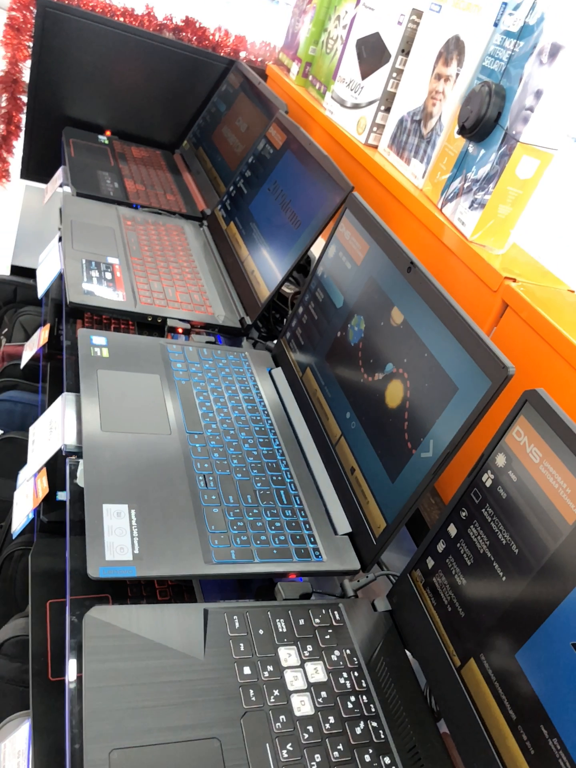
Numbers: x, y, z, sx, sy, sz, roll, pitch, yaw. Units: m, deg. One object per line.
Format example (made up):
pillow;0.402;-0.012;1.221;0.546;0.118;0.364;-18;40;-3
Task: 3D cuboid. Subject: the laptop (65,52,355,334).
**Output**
laptop;-0.144;-0.286;0.944;0.319;0.224;0.357;6;35;-25

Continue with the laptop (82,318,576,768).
laptop;0.058;0.189;0.316;0.273;0.244;0.369;7;34;-22

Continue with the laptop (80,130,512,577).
laptop;-0.039;-0.040;0.619;0.278;0.235;0.358;7;34;-24
